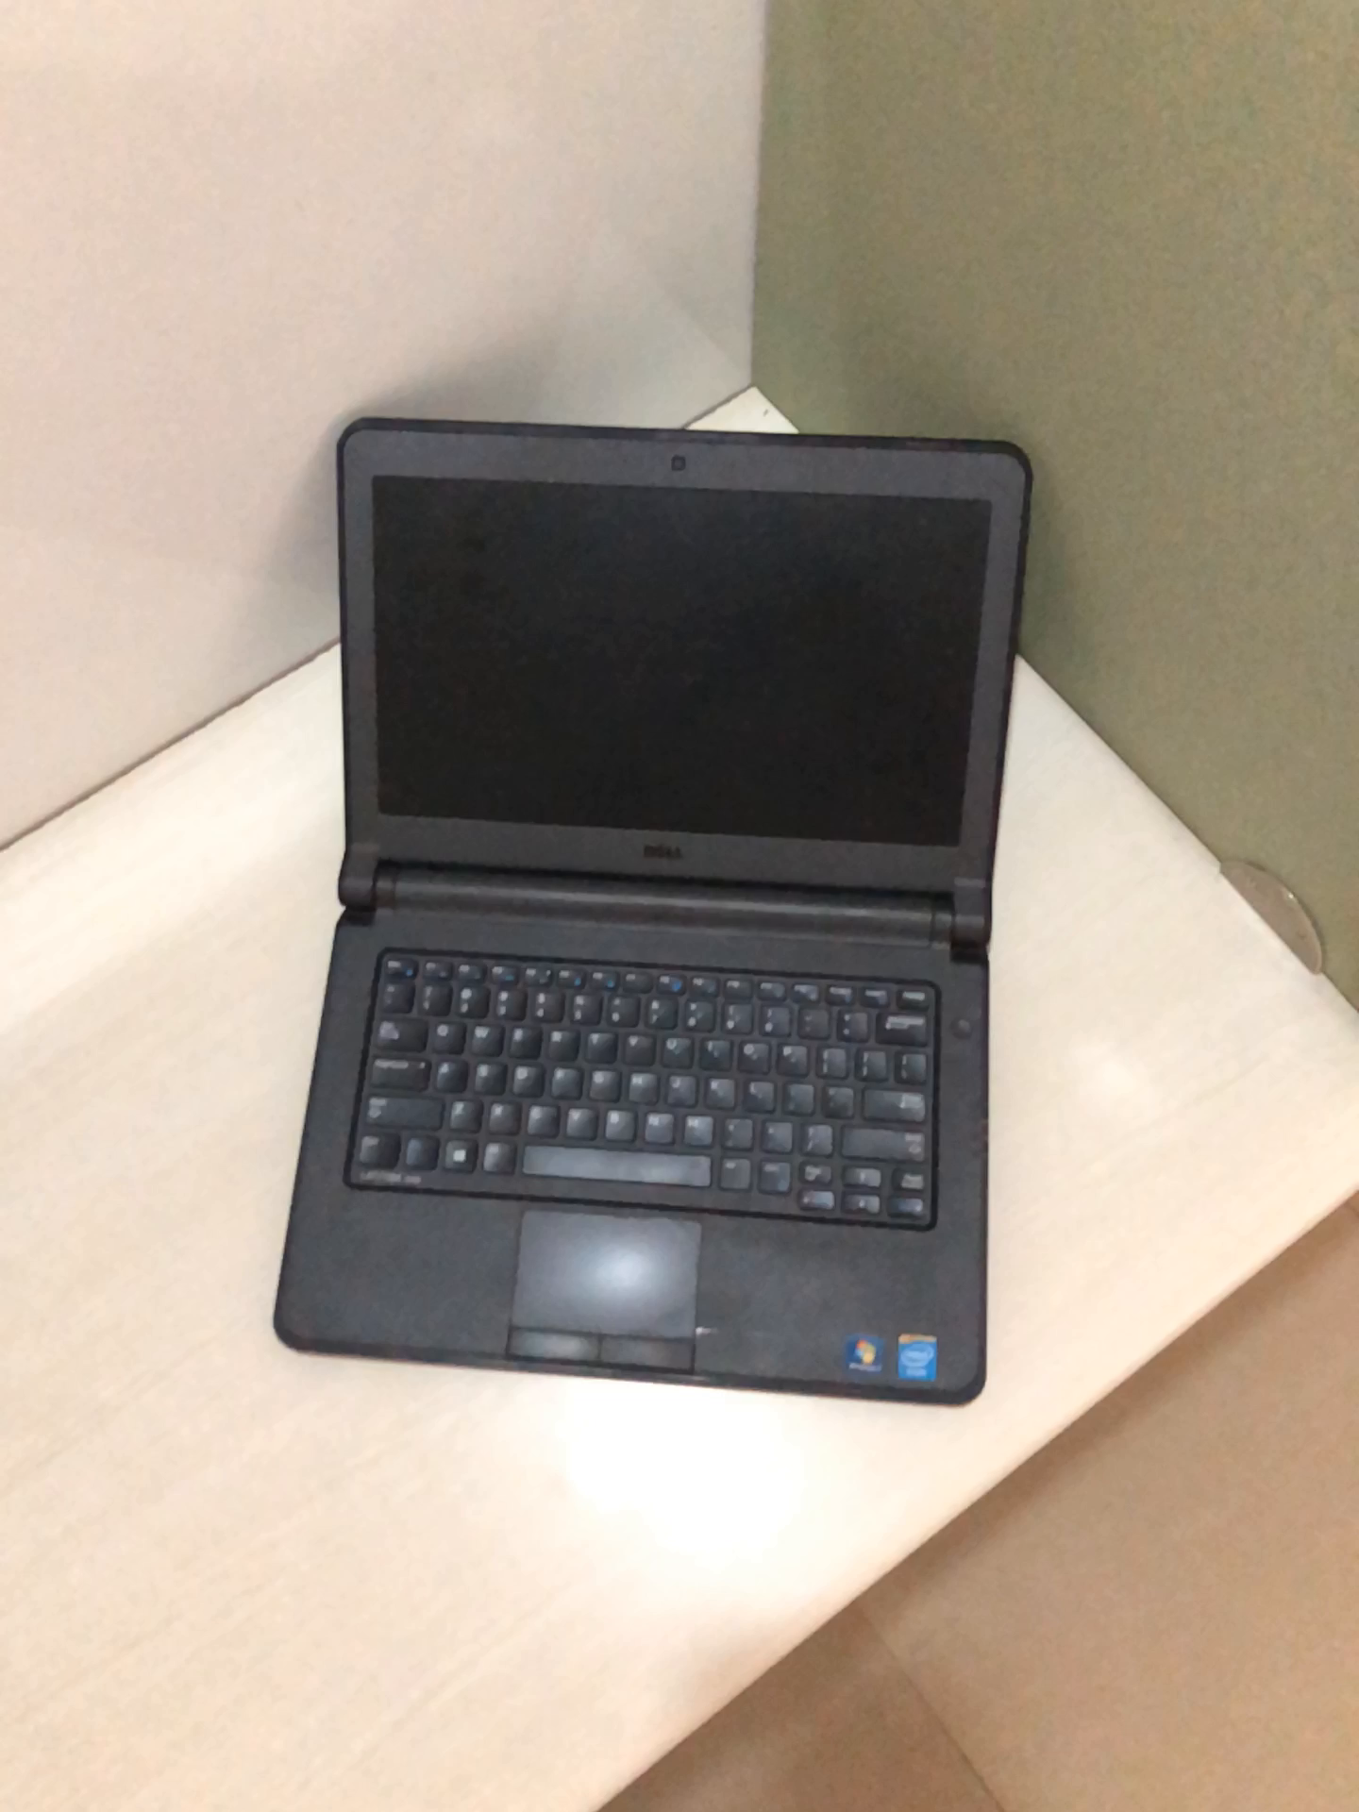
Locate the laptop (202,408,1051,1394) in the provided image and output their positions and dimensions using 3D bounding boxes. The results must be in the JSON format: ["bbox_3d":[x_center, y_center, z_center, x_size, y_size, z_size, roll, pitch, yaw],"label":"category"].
[{"bbox_3d":[-0.006,-0.008,0.669,0.309,0.128,0.395,4,71,5],"label":"laptop"}]
